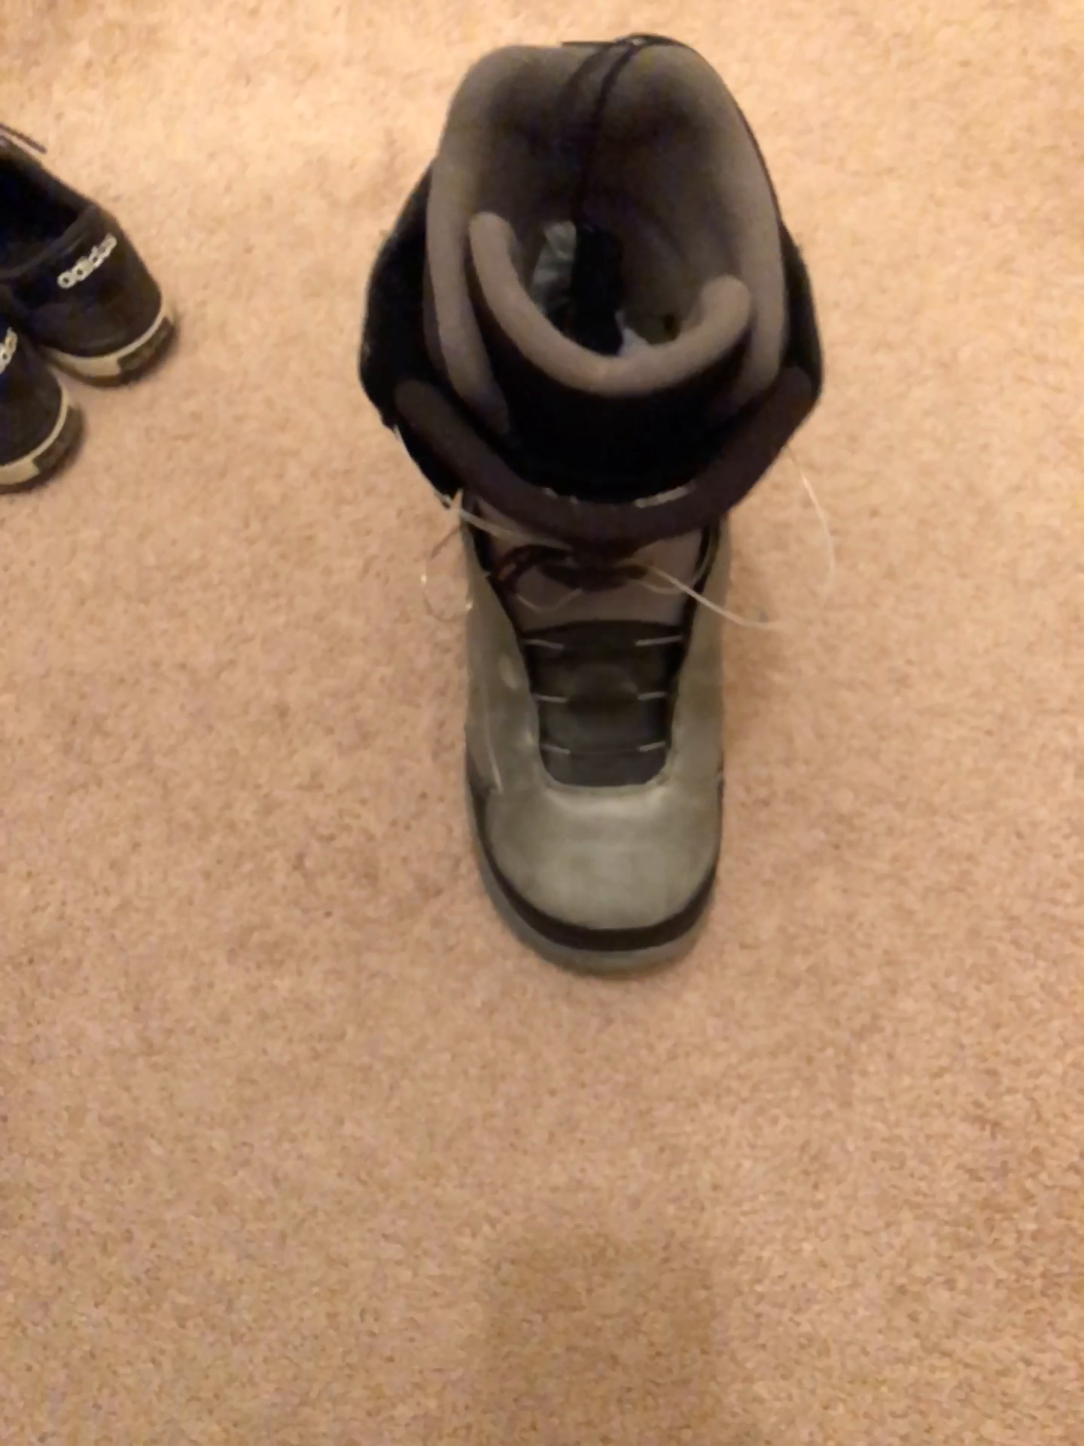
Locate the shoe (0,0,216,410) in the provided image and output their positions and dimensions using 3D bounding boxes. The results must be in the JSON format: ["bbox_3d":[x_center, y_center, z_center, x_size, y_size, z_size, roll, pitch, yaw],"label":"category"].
[{"bbox_3d":[-0.362,-0.310,0.700,0.303,0.117,0.107,24,68,11],"label":"shoe"}]

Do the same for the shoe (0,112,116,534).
[{"bbox_3d":[-0.386,-0.208,0.631,0.283,0.107,0.087,21,72,11],"label":"shoe"}]

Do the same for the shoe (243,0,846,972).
[{"bbox_3d":[0.014,-0.070,0.454,0.137,0.282,0.274,2,69,4],"label":"shoe"}]
